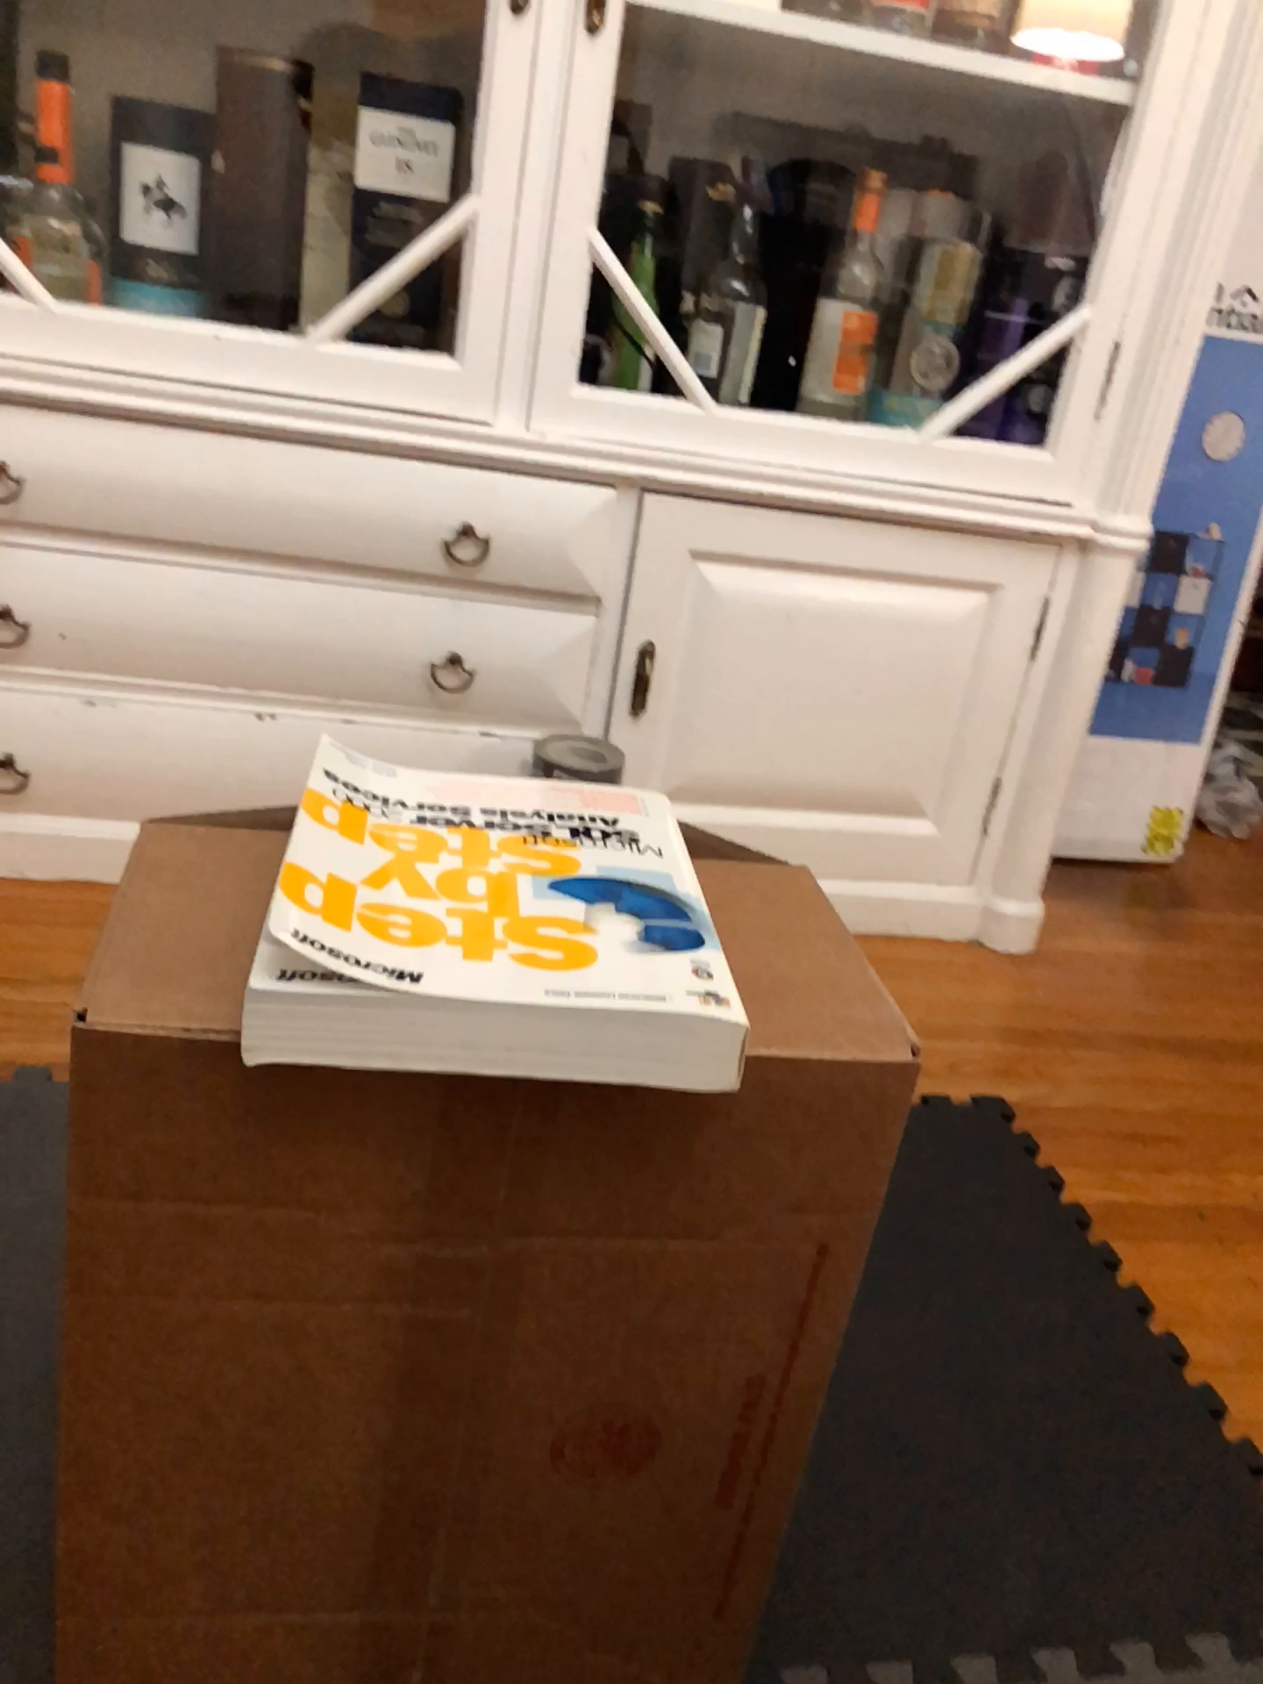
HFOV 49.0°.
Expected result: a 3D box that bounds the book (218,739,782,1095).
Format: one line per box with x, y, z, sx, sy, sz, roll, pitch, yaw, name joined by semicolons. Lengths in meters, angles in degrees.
-0.067;0.021;0.609;0.200;0.050;0.241;1;23;-12;book
